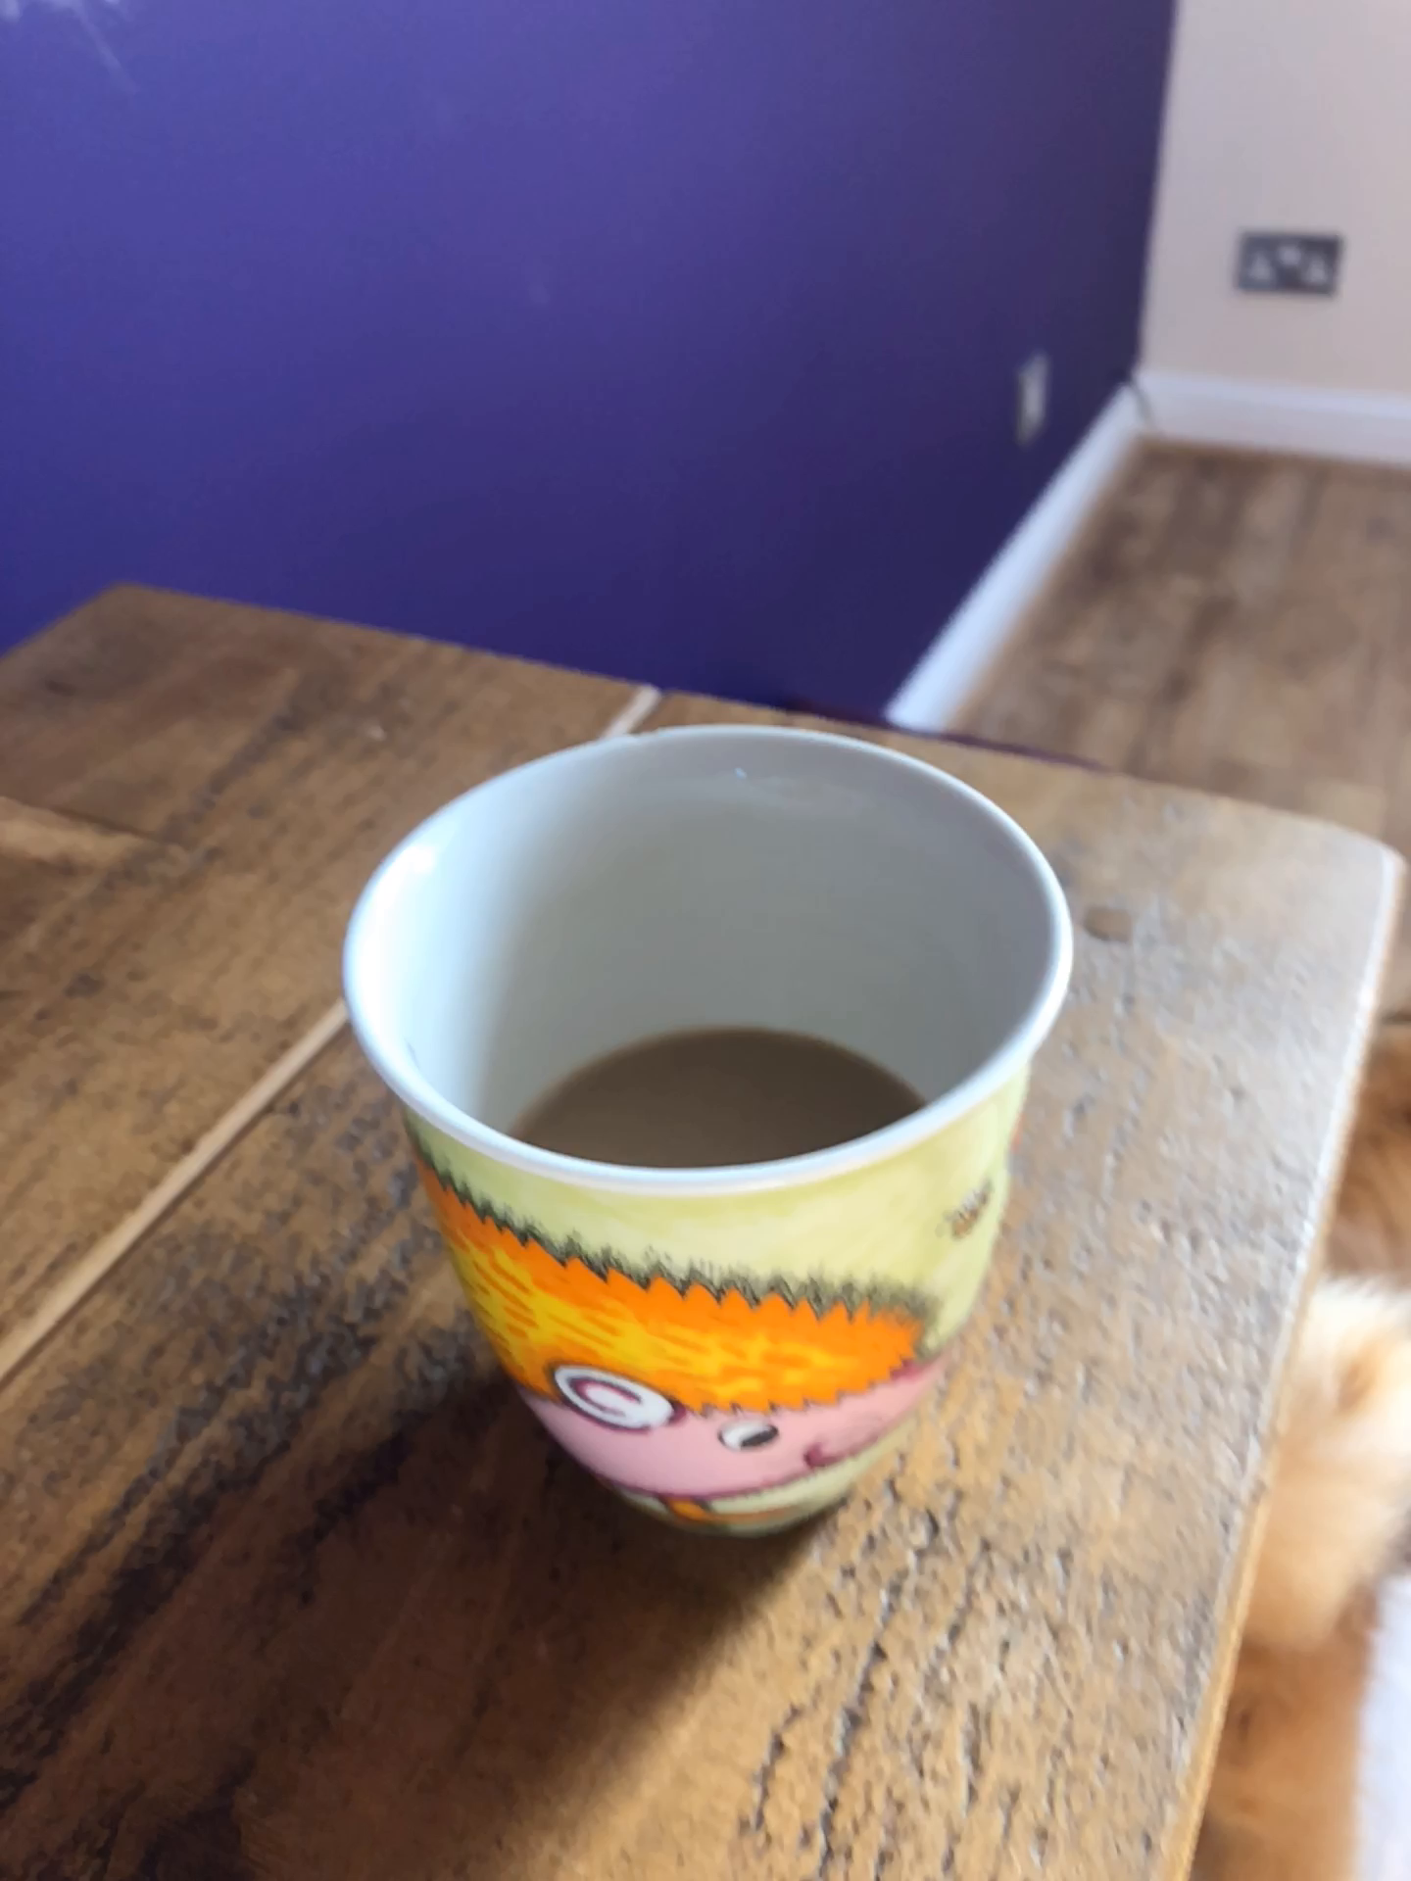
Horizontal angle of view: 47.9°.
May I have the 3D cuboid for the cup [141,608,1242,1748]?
[{"bbox_3d":[-0.006,0.025,0.258,0.107,0.089,0.128,-25,43,-25],"label":"cup"}]
